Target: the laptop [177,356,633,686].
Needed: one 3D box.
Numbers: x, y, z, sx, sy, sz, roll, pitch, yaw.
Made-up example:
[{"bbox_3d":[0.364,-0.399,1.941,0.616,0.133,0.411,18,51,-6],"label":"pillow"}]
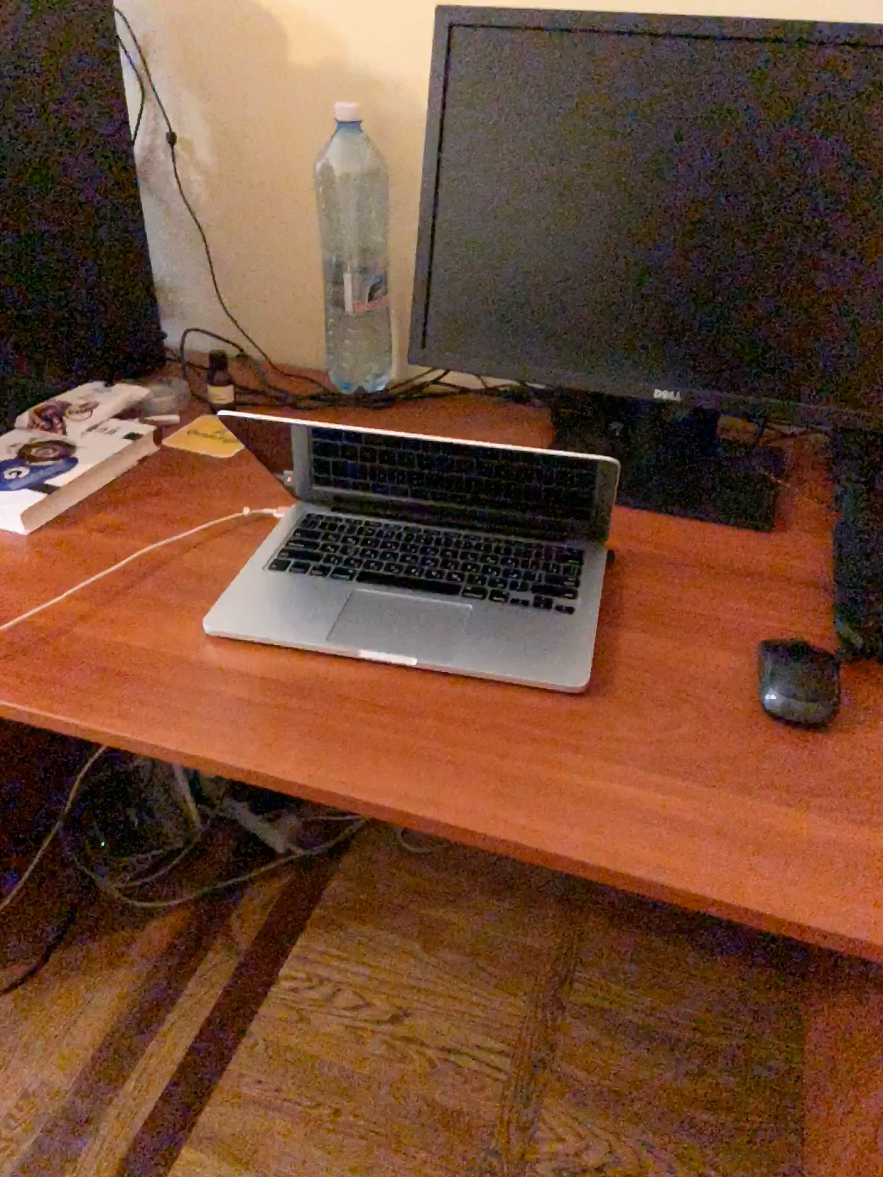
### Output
[{"bbox_3d":[-0.015,-0.067,0.723,0.306,0.148,0.205,8,34,10],"label":"laptop"}]
